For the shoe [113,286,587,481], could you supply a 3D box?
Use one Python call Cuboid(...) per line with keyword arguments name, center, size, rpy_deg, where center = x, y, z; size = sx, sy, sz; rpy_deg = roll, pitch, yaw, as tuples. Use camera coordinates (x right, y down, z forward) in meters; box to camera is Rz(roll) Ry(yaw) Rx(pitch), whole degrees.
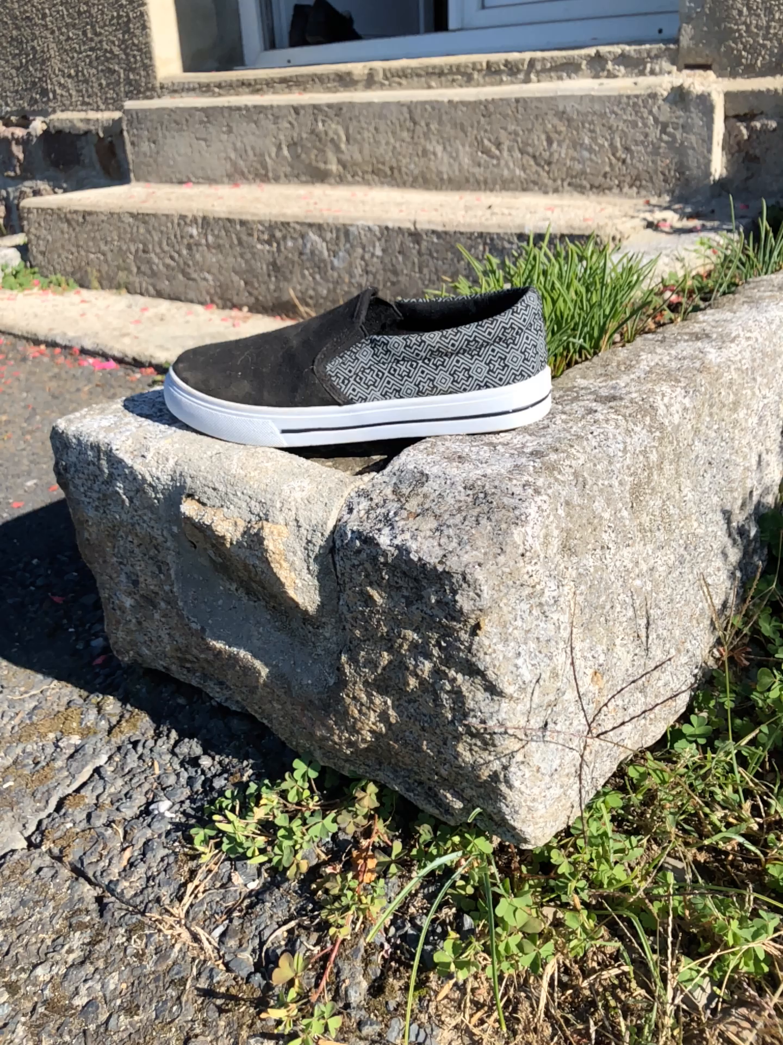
Cuboid(name="shoe", center=(-0.020, -0.091, 0.524), size=(0.260, 0.080, 0.101), rpy_deg=(5, 26, 16))
